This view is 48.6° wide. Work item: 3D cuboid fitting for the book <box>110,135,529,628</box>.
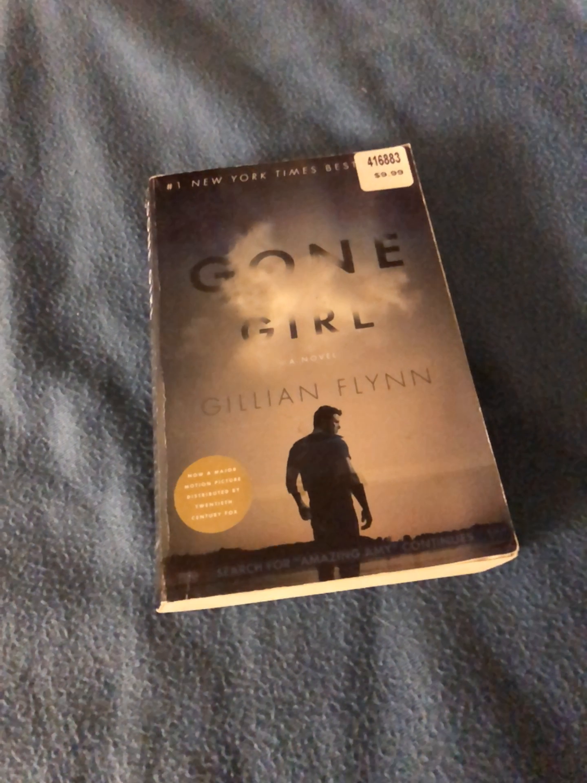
[{"bbox_3d":[-0.002,-0.015,0.284,0.140,0.040,0.201,-8,65,-3],"label":"book"}]
